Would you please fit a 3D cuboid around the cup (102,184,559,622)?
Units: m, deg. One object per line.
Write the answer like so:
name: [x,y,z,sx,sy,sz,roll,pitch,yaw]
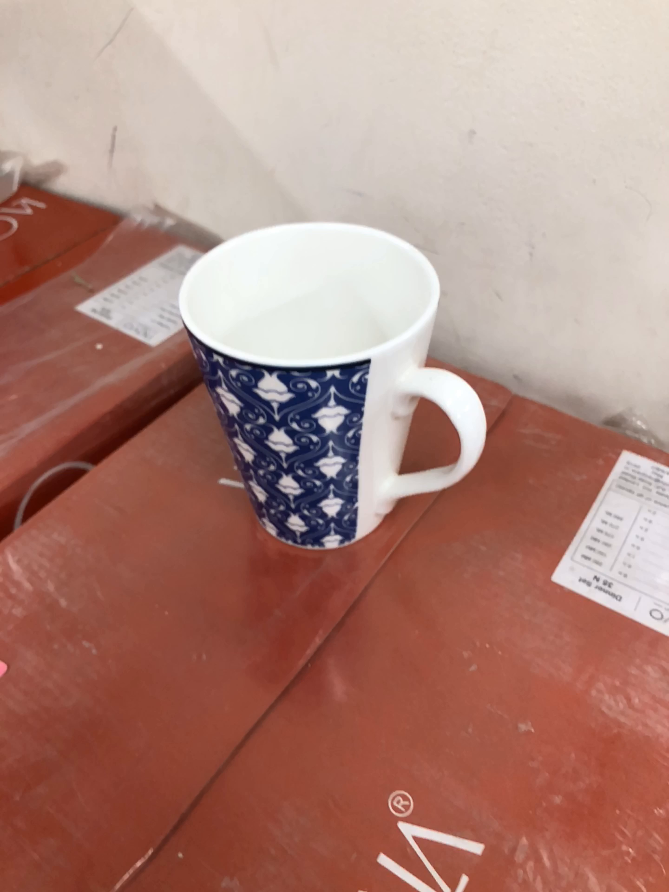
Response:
cup: [0.001,-0.019,0.270,0.120,0.099,0.081,19,48,20]
